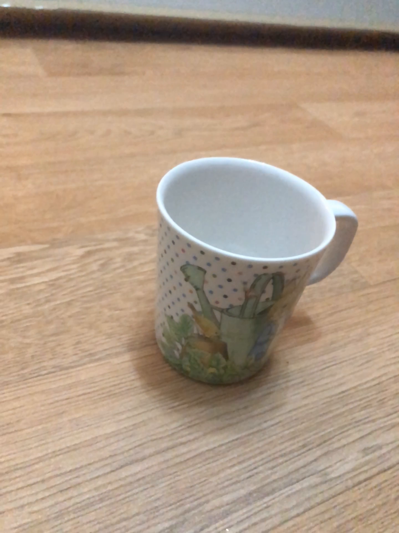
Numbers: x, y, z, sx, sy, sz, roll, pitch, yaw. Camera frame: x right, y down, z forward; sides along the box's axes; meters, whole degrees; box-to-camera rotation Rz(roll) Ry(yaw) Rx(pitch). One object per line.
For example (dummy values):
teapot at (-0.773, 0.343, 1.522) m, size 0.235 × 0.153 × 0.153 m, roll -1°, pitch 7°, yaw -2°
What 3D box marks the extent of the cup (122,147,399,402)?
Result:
cup at (0.026, -0.003, 0.223) m, size 0.110 × 0.079 × 0.080 m, roll -8°, pitch 43°, yaw -21°
